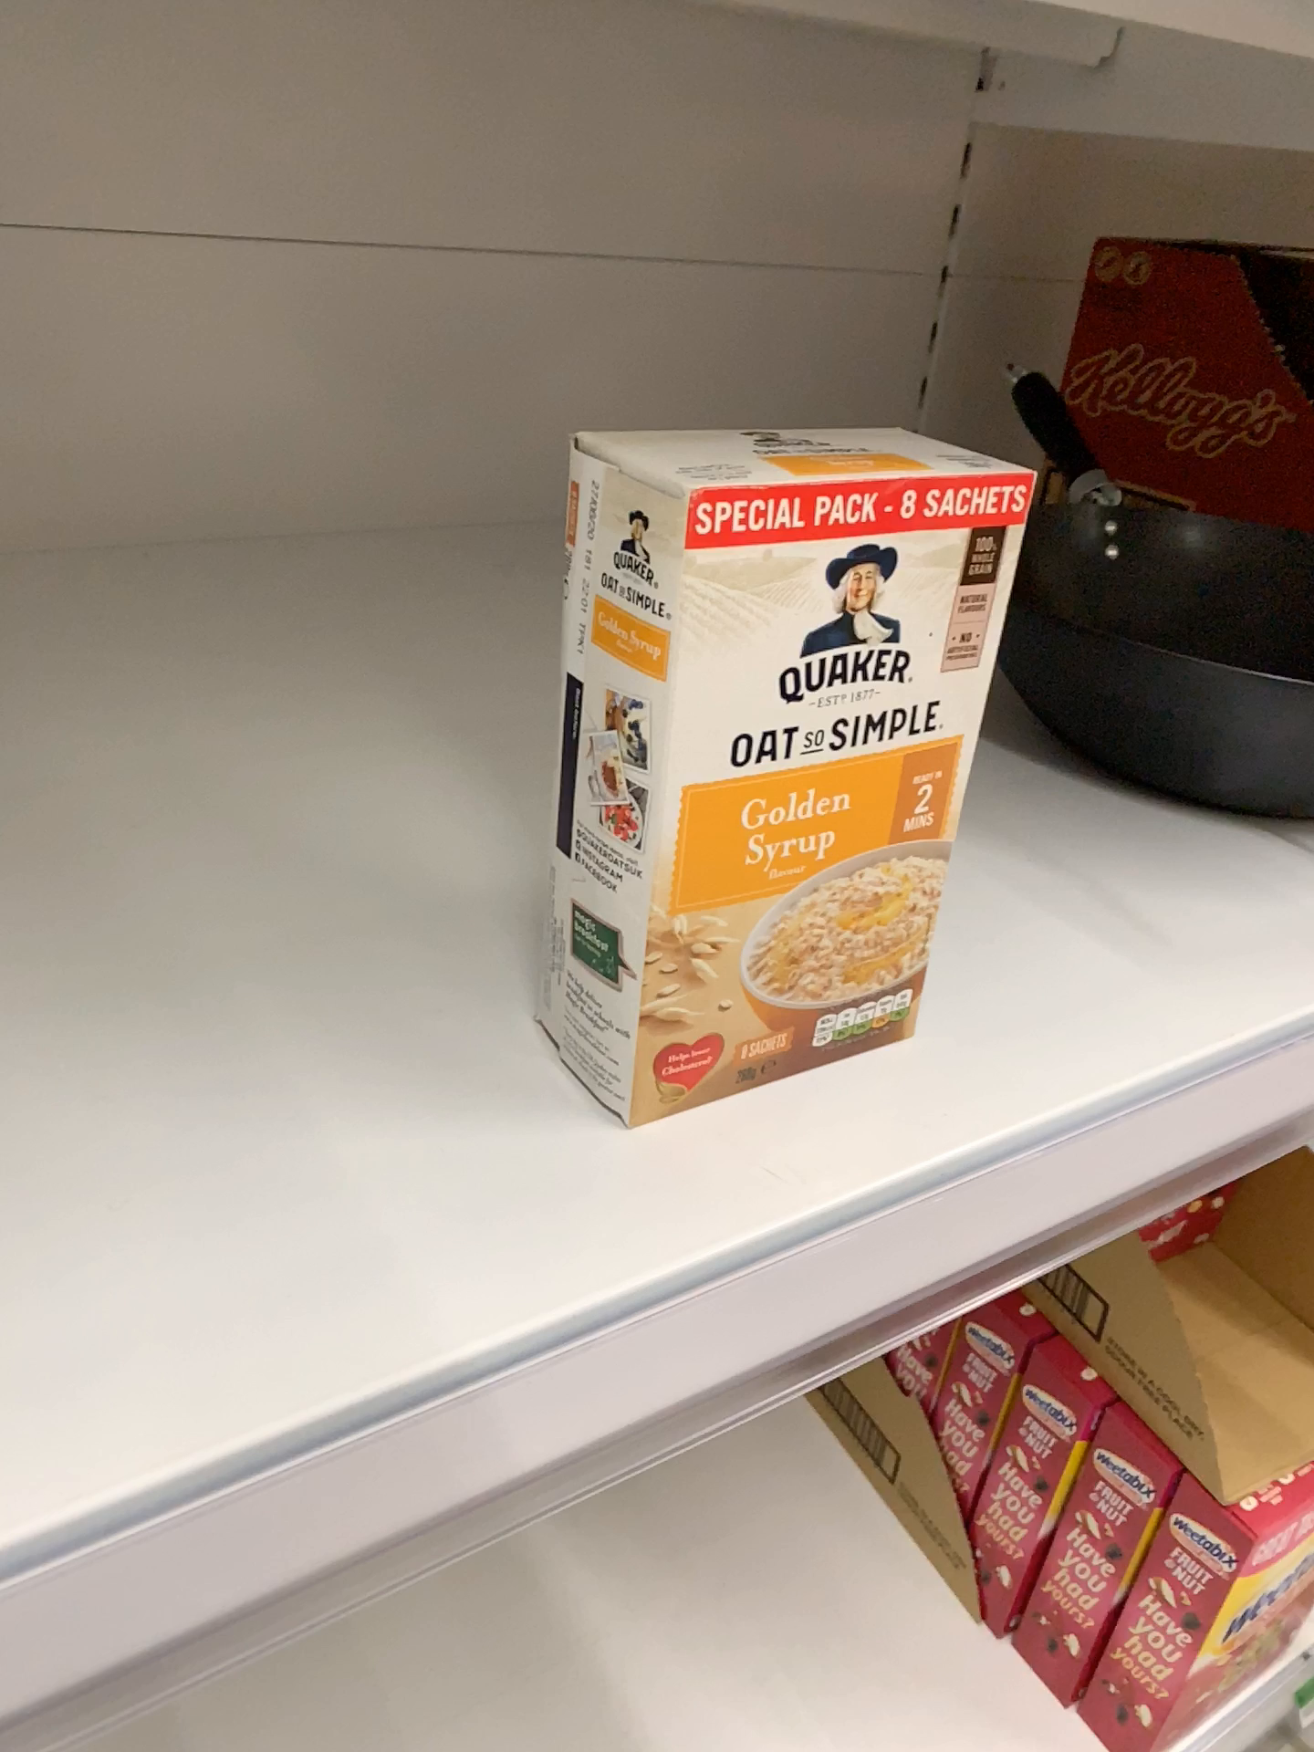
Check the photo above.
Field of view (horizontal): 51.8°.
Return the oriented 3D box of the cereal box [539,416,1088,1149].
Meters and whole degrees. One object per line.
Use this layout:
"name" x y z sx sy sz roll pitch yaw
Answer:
"cereal box" 0.044 -0.035 0.443 0.141 0.208 0.070 -12 31 -32
